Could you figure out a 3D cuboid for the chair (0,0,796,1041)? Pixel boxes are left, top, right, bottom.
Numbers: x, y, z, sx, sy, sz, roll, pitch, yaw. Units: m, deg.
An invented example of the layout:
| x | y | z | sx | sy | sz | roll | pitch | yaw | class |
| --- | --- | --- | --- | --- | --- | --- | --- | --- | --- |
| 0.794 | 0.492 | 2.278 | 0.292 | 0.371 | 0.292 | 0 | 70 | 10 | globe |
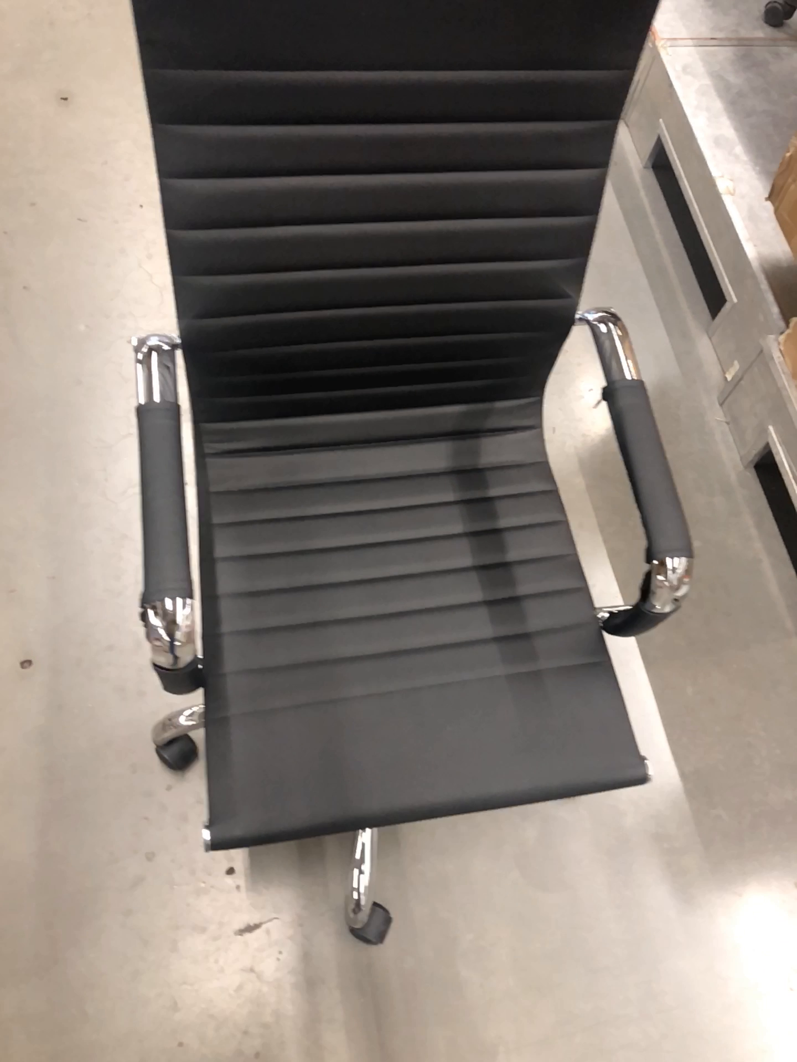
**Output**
| x | y | z | sx | sy | sz | roll | pitch | yaw | class |
| --- | --- | --- | --- | --- | --- | --- | --- | --- | --- |
| 0.025 | 0.031 | 0.952 | 0.670 | 1.095 | 0.743 | -3 | 64 | -12 | chair |
